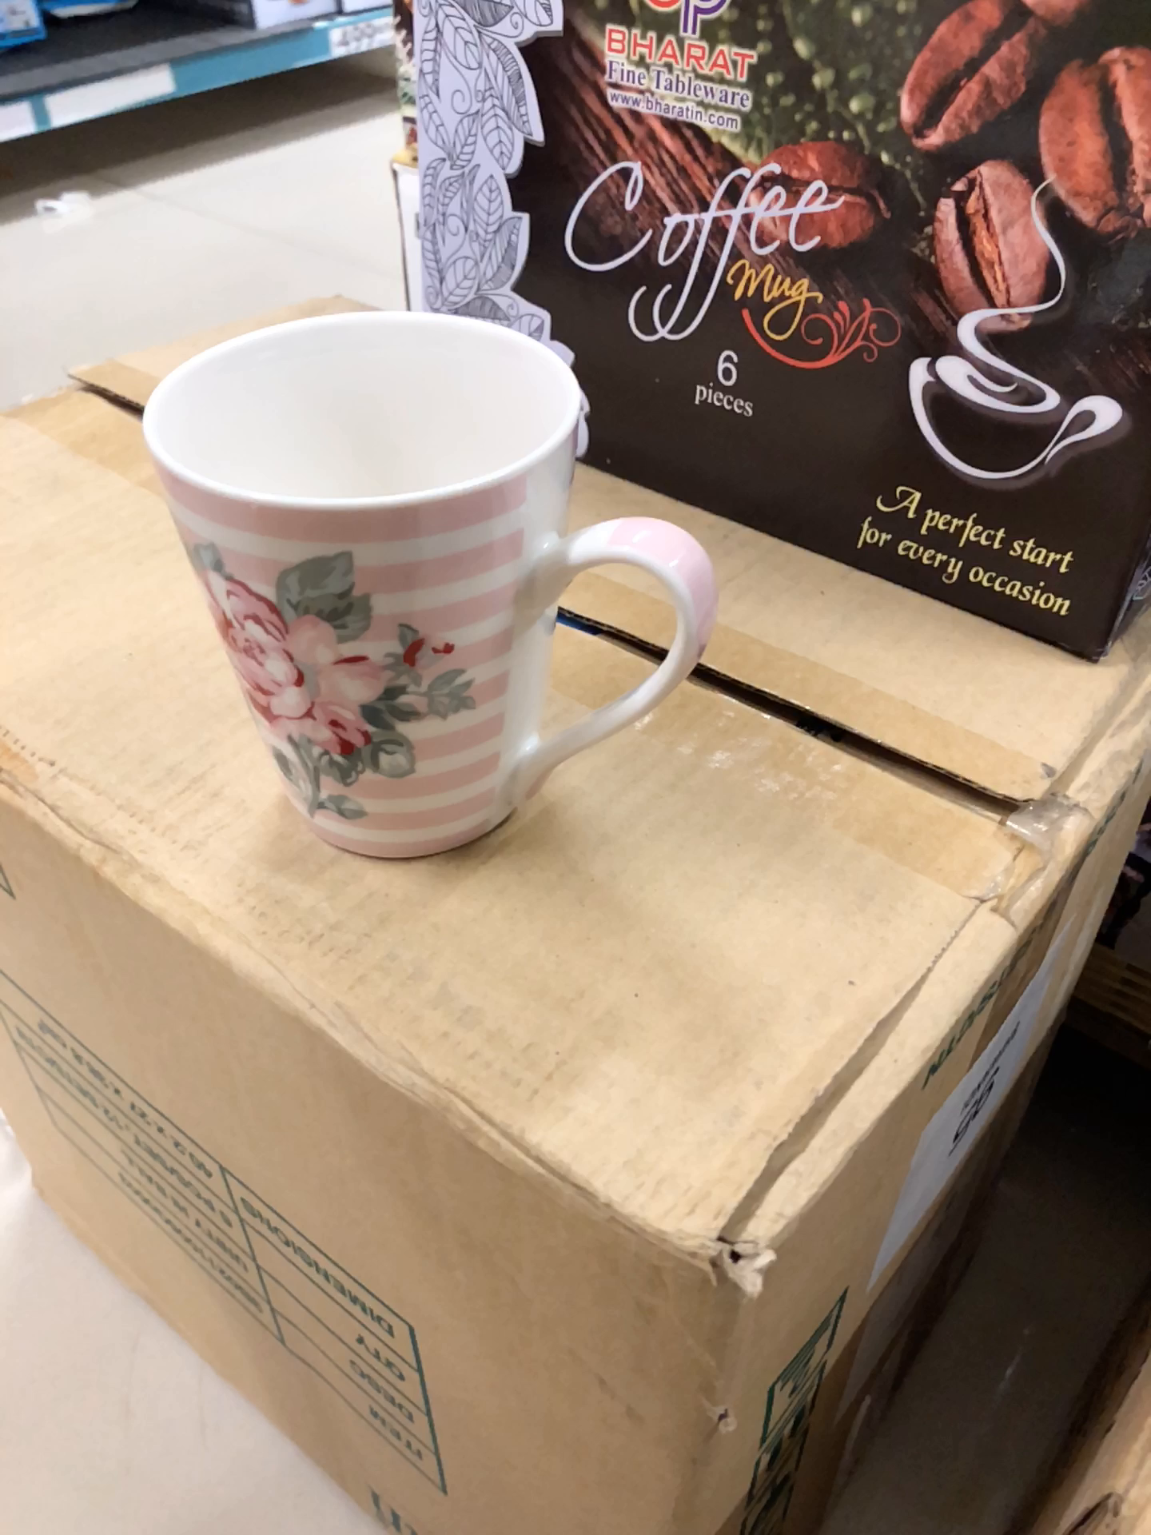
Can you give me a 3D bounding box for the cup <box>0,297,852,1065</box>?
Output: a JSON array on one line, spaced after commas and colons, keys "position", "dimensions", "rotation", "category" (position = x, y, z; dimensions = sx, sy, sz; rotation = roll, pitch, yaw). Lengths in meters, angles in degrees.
[{"position": [-0.027, -0.026, 0.267], "dimensions": [0.130, 0.089, 0.091], "rotation": [23, 46, 25], "category": "cup"}]
